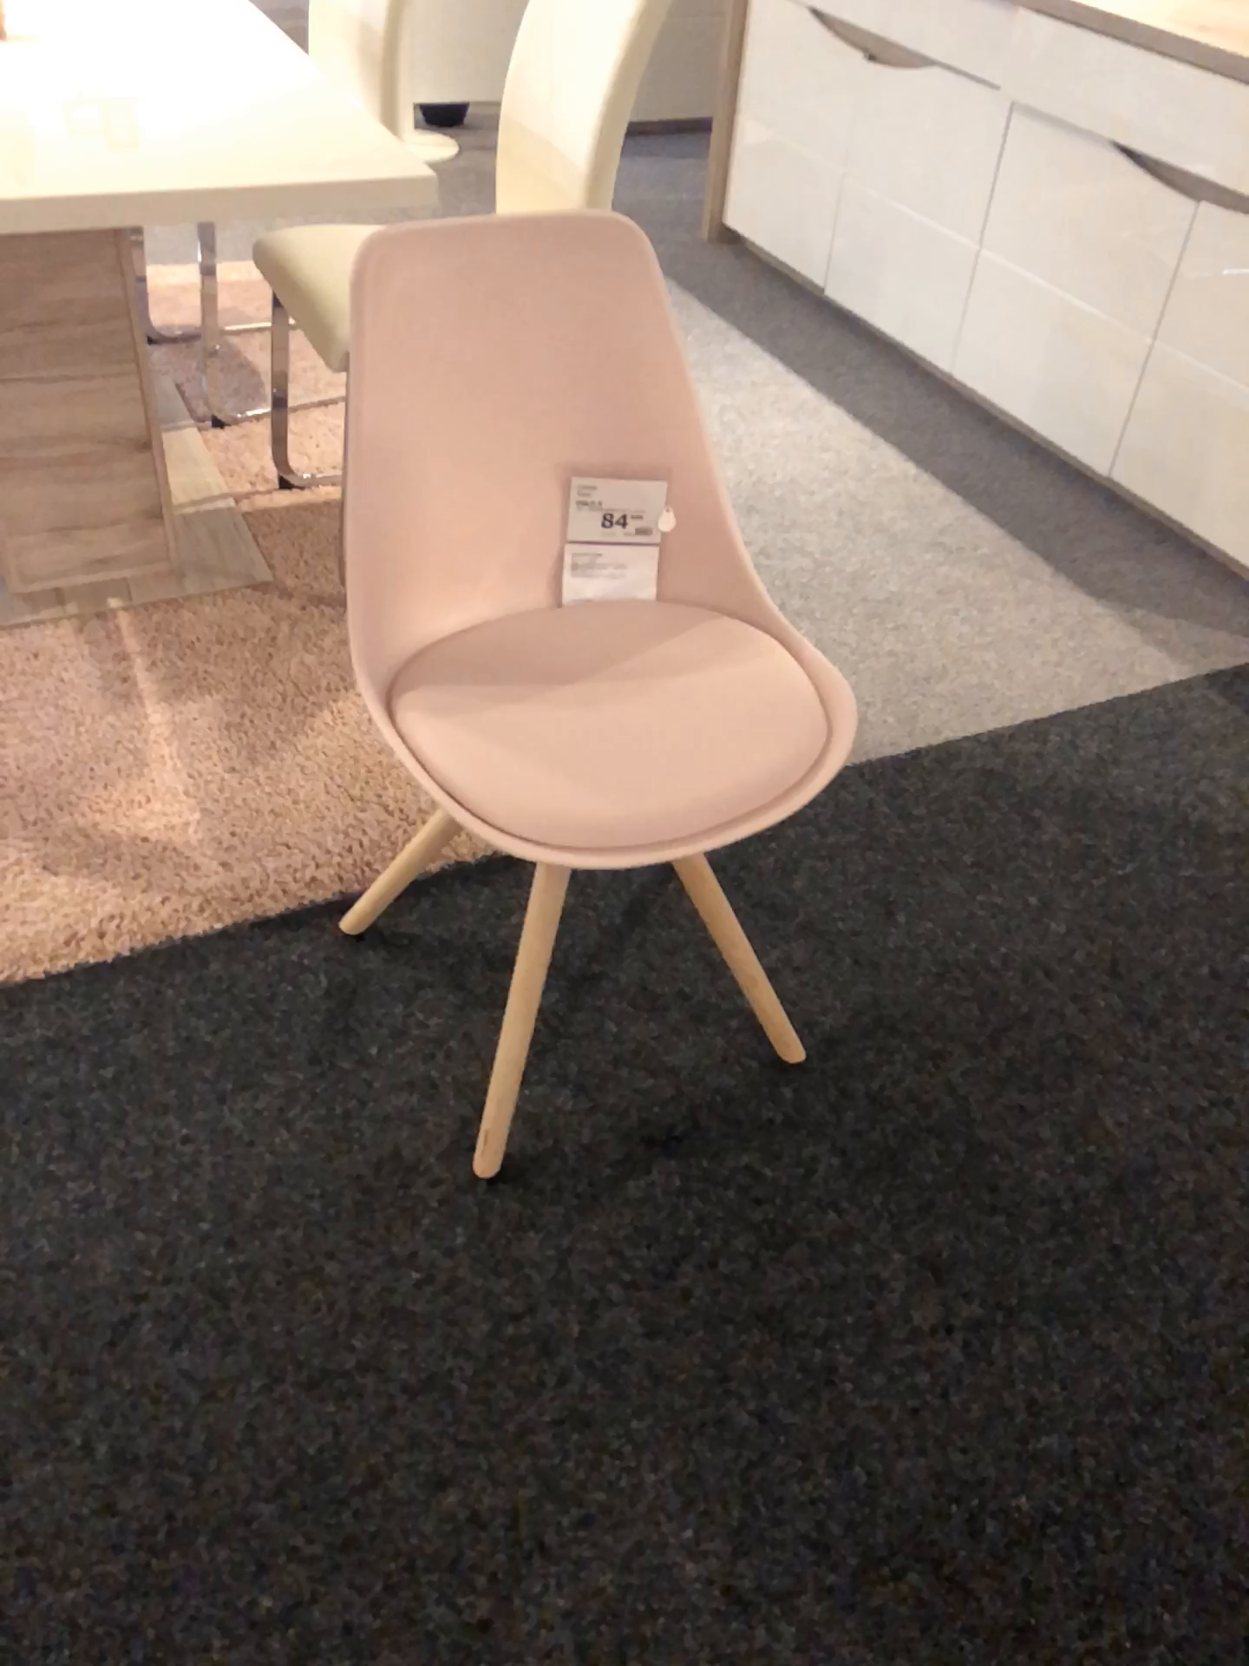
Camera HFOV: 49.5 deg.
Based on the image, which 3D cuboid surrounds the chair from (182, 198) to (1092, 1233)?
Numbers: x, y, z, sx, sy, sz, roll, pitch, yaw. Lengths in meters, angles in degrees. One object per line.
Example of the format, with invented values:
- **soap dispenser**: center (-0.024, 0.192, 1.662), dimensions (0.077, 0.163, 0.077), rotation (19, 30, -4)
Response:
- **chair**: center (-0.043, -0.139, 1.377), dimensions (0.572, 0.765, 0.562), rotation (-15, 44, -23)
